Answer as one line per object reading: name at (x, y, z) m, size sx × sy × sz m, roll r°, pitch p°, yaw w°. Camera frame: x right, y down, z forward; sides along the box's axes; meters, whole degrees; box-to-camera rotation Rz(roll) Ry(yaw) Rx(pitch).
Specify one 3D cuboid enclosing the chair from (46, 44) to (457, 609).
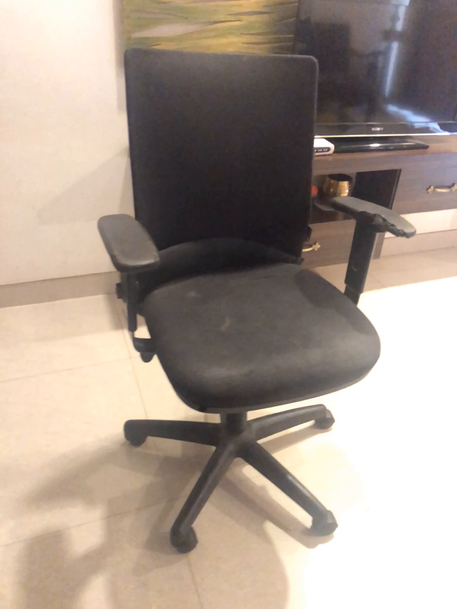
chair at (0.048, 0.004, 1.214) m, size 0.711 × 1.042 × 0.704 m, roll -11°, pitch 36°, yaw -20°
